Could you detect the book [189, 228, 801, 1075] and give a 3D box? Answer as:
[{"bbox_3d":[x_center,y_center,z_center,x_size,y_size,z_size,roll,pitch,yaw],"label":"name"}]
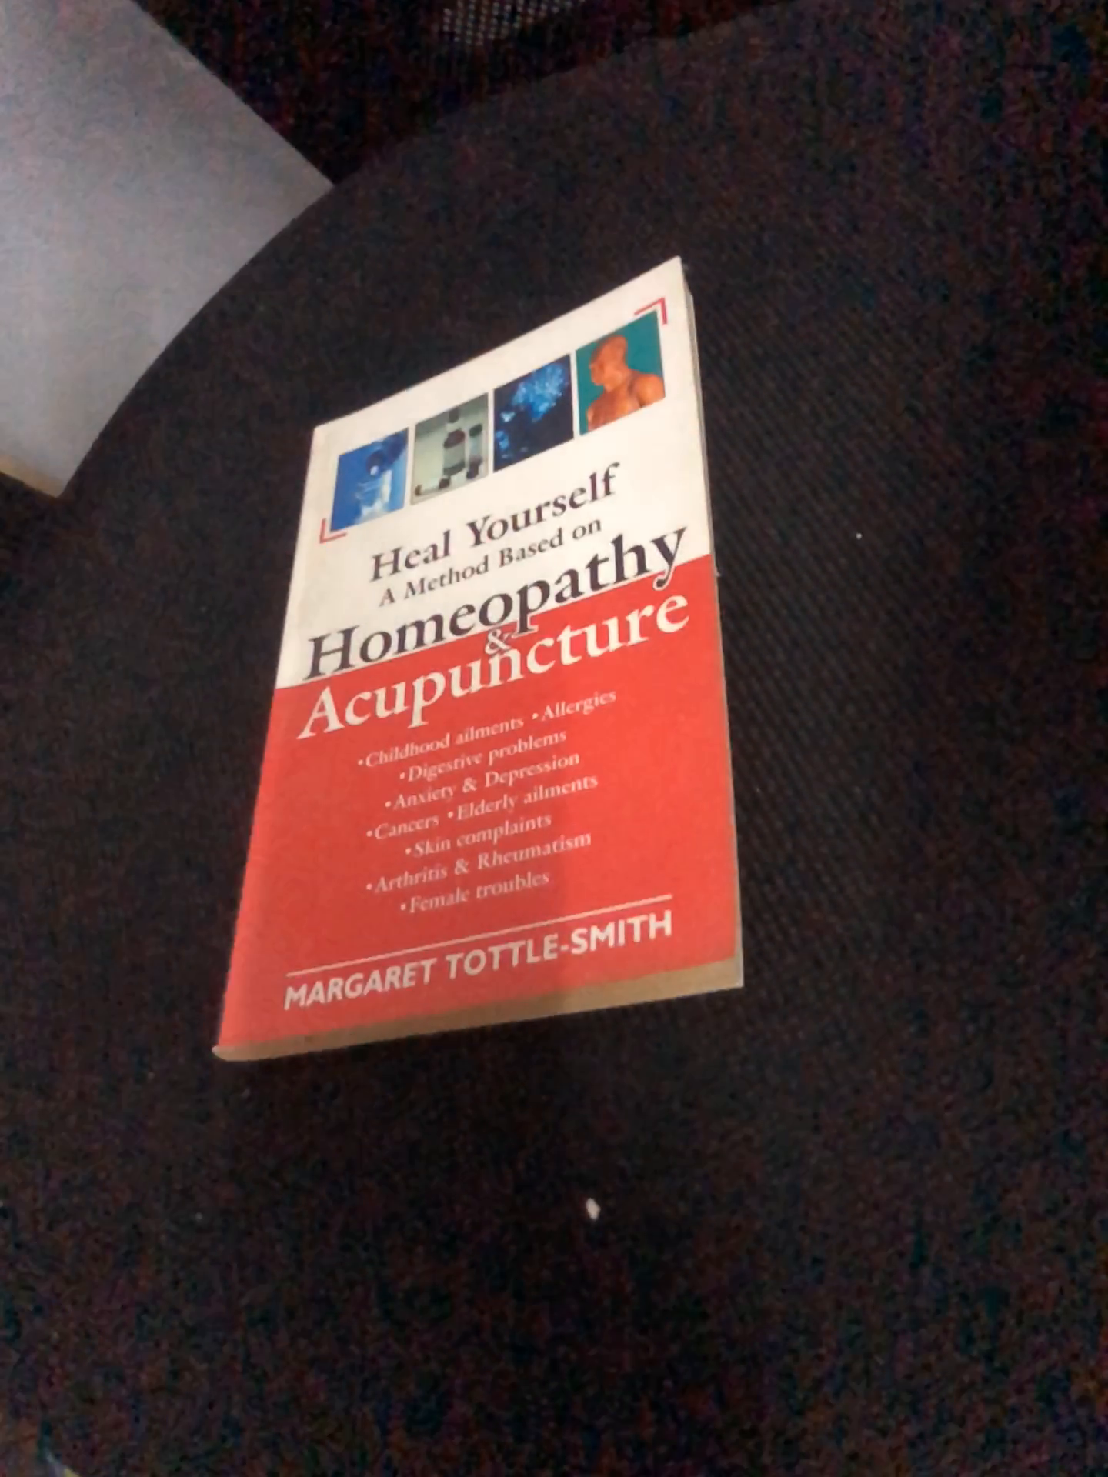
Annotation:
[{"bbox_3d":[-0.016,-0.029,0.333,0.150,0.020,0.220,-15,55,26],"label":"book"}]
